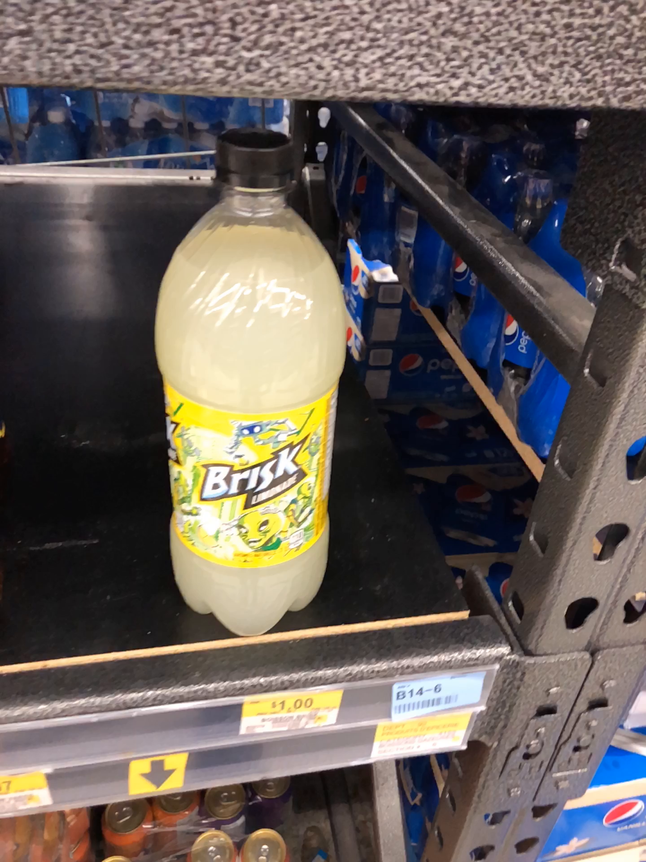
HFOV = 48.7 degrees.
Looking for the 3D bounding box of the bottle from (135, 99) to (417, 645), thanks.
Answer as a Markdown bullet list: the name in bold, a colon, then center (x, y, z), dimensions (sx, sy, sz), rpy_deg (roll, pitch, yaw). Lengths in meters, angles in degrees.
- **bottle**: center (-0.031, -0.017, 0.328), dimensions (0.090, 0.228, 0.091), rpy_deg (4, 35, -3)
